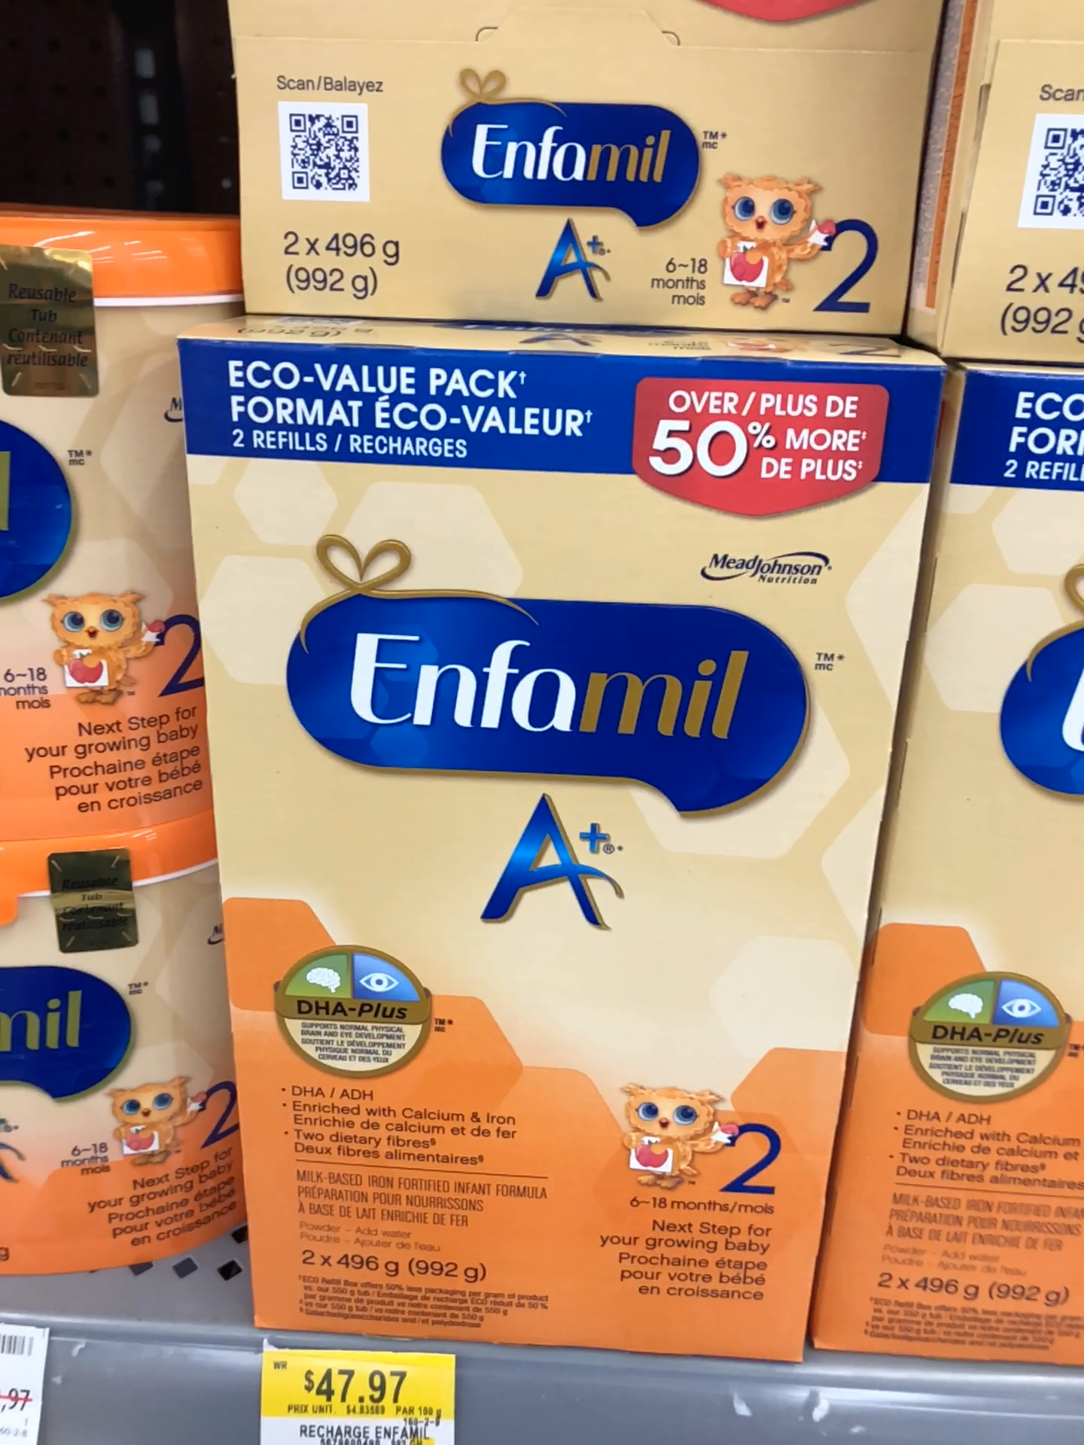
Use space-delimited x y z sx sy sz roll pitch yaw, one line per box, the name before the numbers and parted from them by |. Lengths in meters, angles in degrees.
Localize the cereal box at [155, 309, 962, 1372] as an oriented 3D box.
cereal box | -0.001 0.032 0.291 0.140 0.238 0.081 3 23 1
